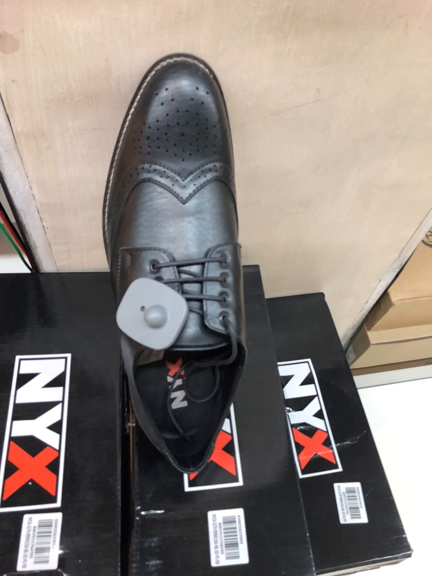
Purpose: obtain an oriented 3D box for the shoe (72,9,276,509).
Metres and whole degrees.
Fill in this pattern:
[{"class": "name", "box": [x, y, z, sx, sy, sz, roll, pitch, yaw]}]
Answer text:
[{"class": "shoe", "box": [-0.030, -0.013, 0.336, 0.107, 0.296, 0.107, -3, 16, -11]}]
